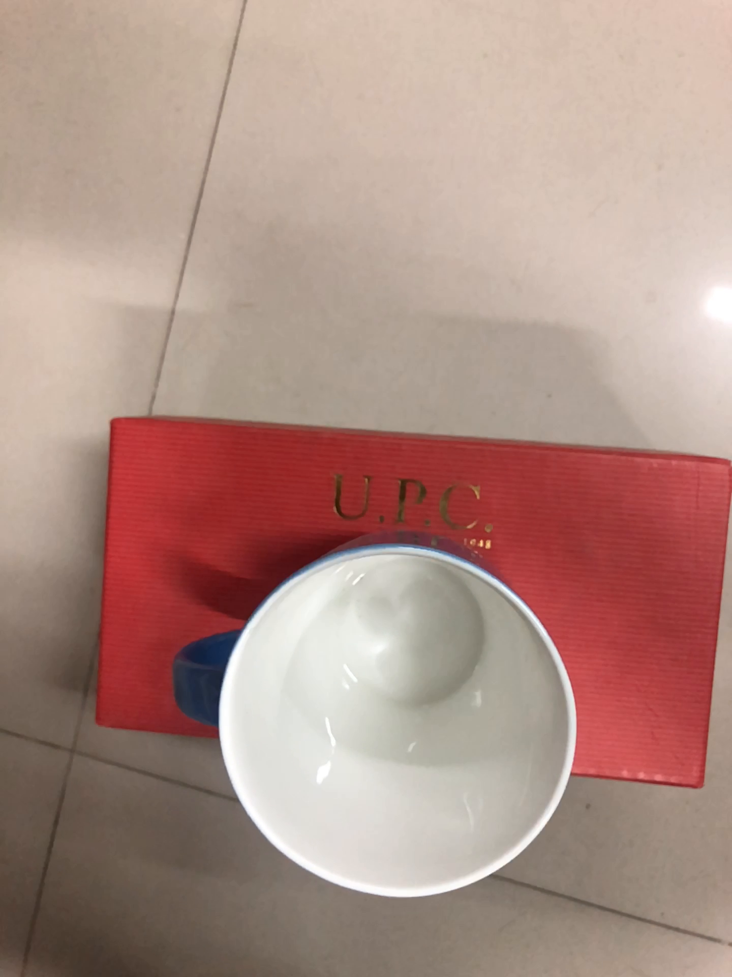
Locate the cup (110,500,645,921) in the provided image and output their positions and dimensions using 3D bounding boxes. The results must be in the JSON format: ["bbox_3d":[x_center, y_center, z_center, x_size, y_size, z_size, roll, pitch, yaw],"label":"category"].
[{"bbox_3d":[0.005,0.051,0.221,0.110,0.080,0.080,-6,93,6],"label":"cup"}]
